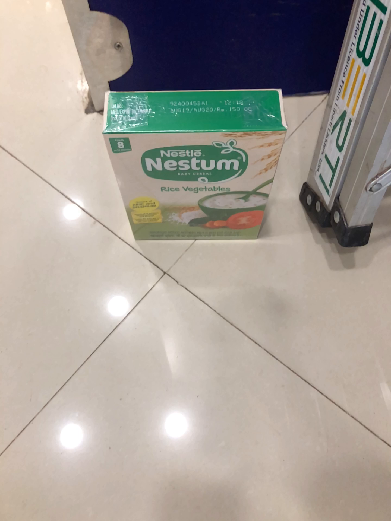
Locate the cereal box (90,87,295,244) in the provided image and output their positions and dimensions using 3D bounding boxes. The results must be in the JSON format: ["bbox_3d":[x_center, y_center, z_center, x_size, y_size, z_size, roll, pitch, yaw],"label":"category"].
[{"bbox_3d":[-0.003,-0.082,0.435,0.160,0.189,0.050,-1,66,-1],"label":"cereal box"}]
